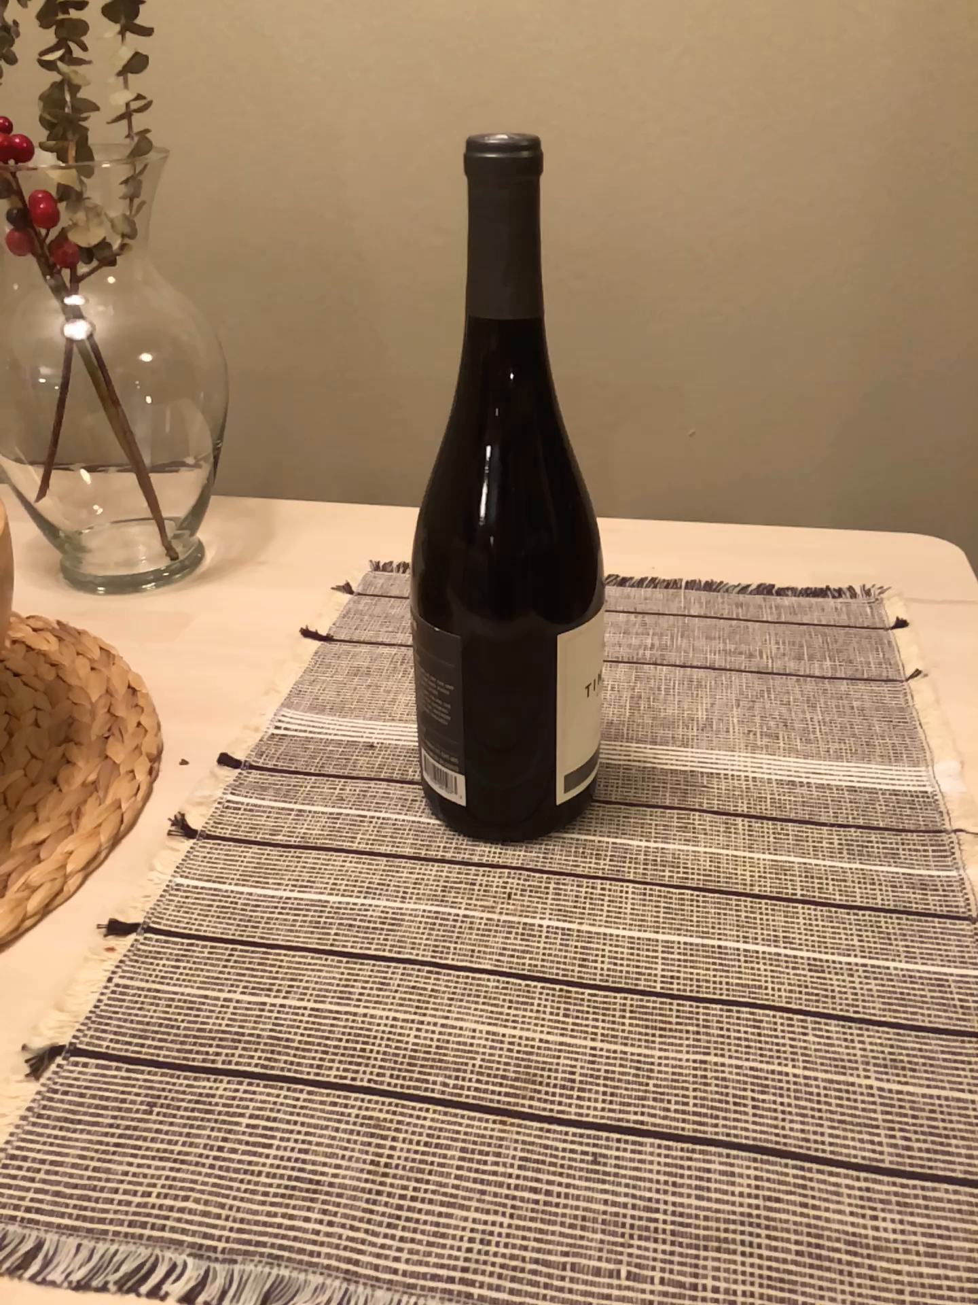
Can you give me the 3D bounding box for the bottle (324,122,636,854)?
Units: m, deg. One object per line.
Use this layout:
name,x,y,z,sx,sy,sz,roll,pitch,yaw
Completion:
bottle,0.002,-0.059,0.453,0.100,0.288,0.091,0,28,3

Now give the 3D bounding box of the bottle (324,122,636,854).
bottle,0.002,-0.059,0.453,0.100,0.288,0.091,0,28,3
